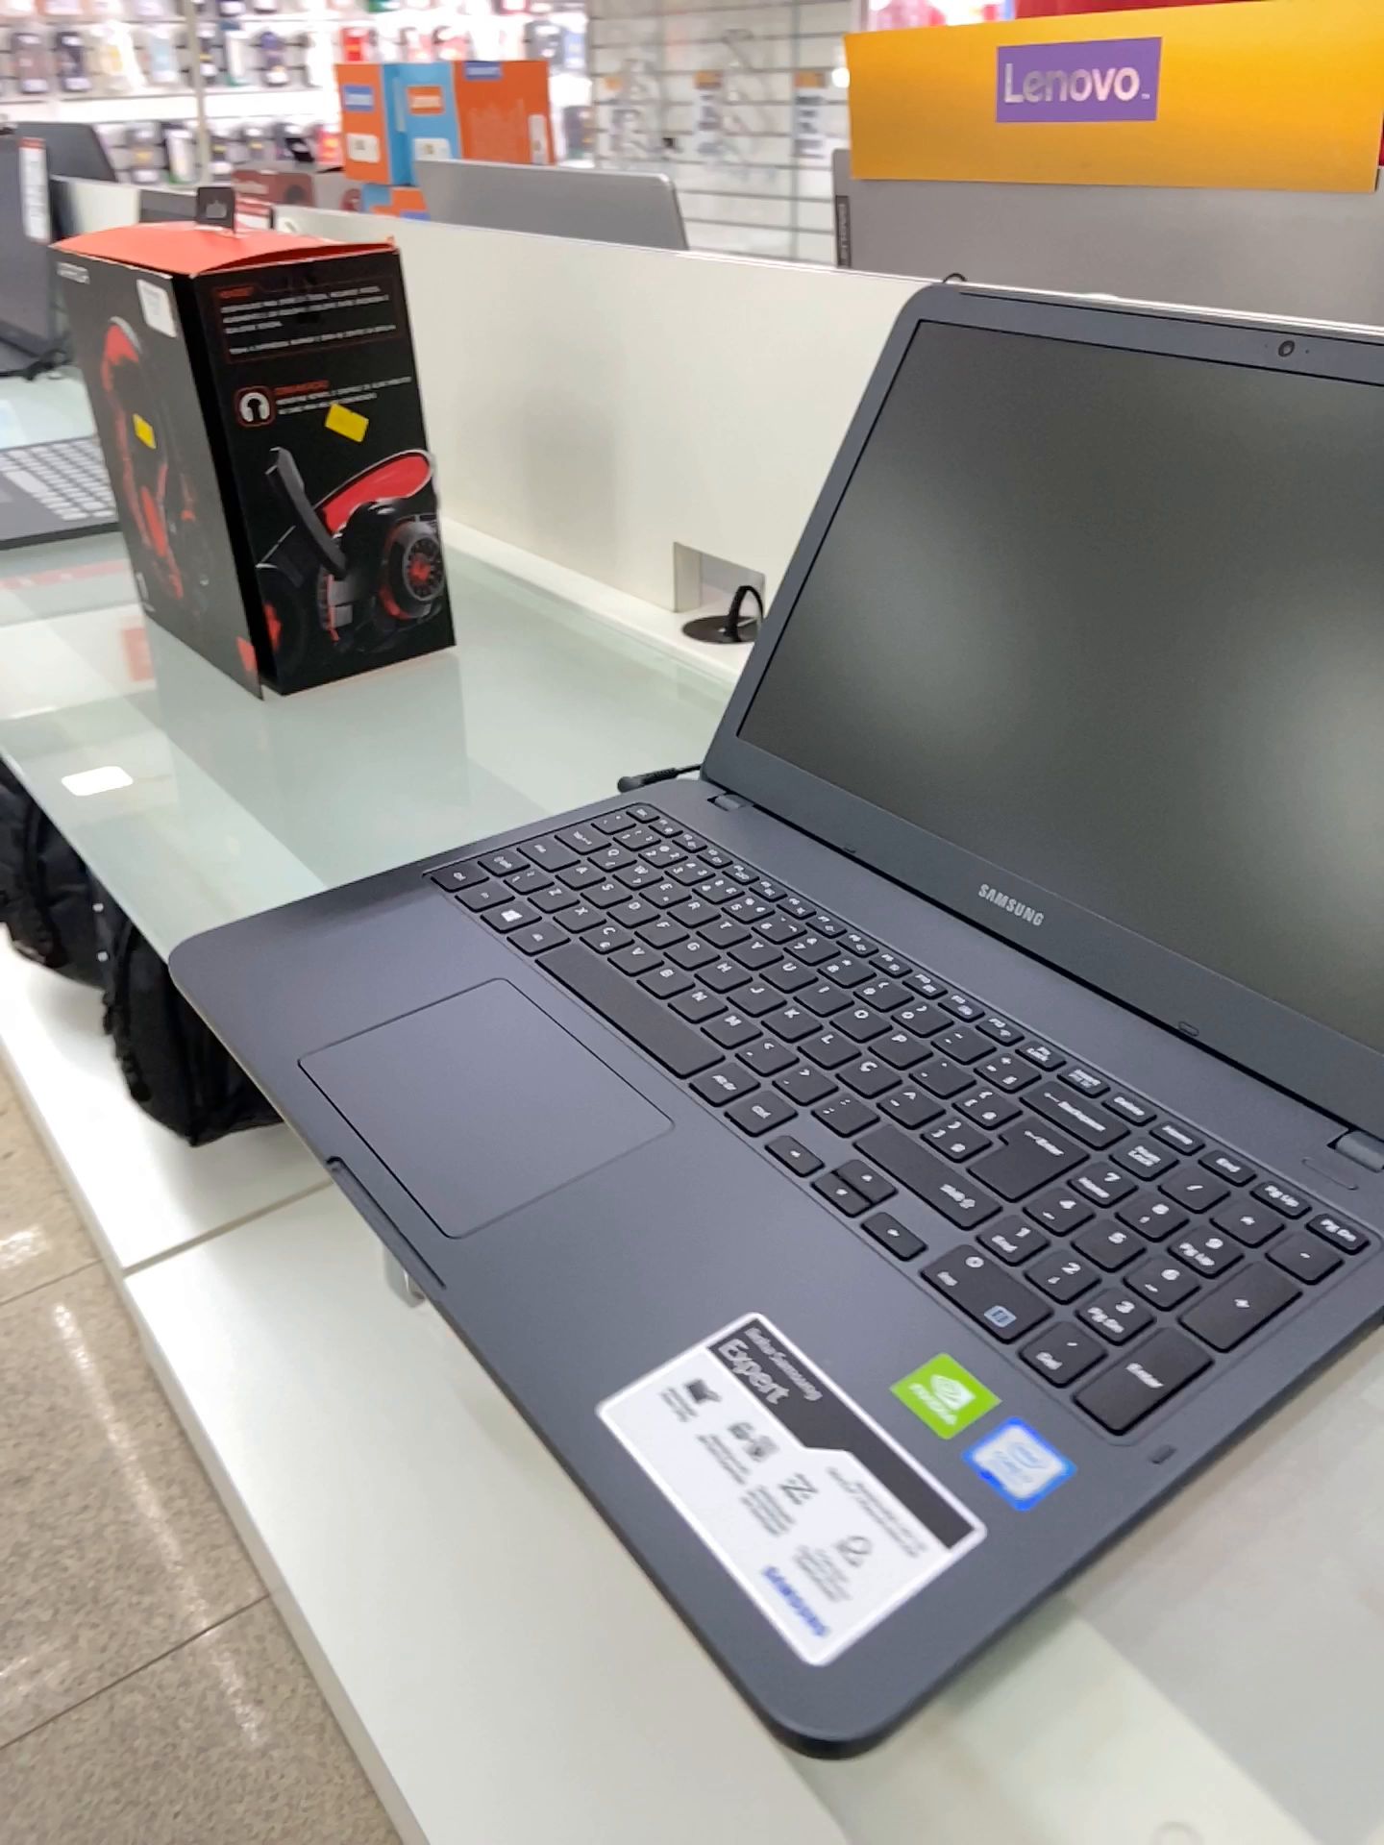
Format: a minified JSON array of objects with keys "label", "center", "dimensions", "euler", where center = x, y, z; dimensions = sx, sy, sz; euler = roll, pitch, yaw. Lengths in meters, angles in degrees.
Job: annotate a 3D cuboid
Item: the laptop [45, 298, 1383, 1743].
[{"label":"laptop","center":[0.062,-0.059,0.445],"dimensions":[0.369,0.192,0.372],"euler":[-21,35,-30]}]
